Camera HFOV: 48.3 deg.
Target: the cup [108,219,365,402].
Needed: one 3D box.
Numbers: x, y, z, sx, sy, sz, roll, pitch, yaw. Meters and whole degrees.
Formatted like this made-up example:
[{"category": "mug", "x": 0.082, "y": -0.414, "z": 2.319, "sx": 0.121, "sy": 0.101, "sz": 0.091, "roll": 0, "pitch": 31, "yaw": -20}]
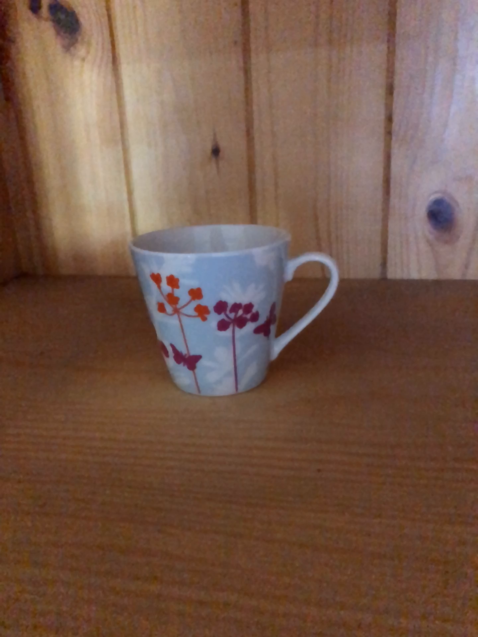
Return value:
[{"category": "cup", "x": 0.002, "y": -0.007, "z": 0.206, "sx": 0.080, "sy": 0.050, "sz": 0.070, "roll": -1, "pitch": 18, "yaw": 5}]
